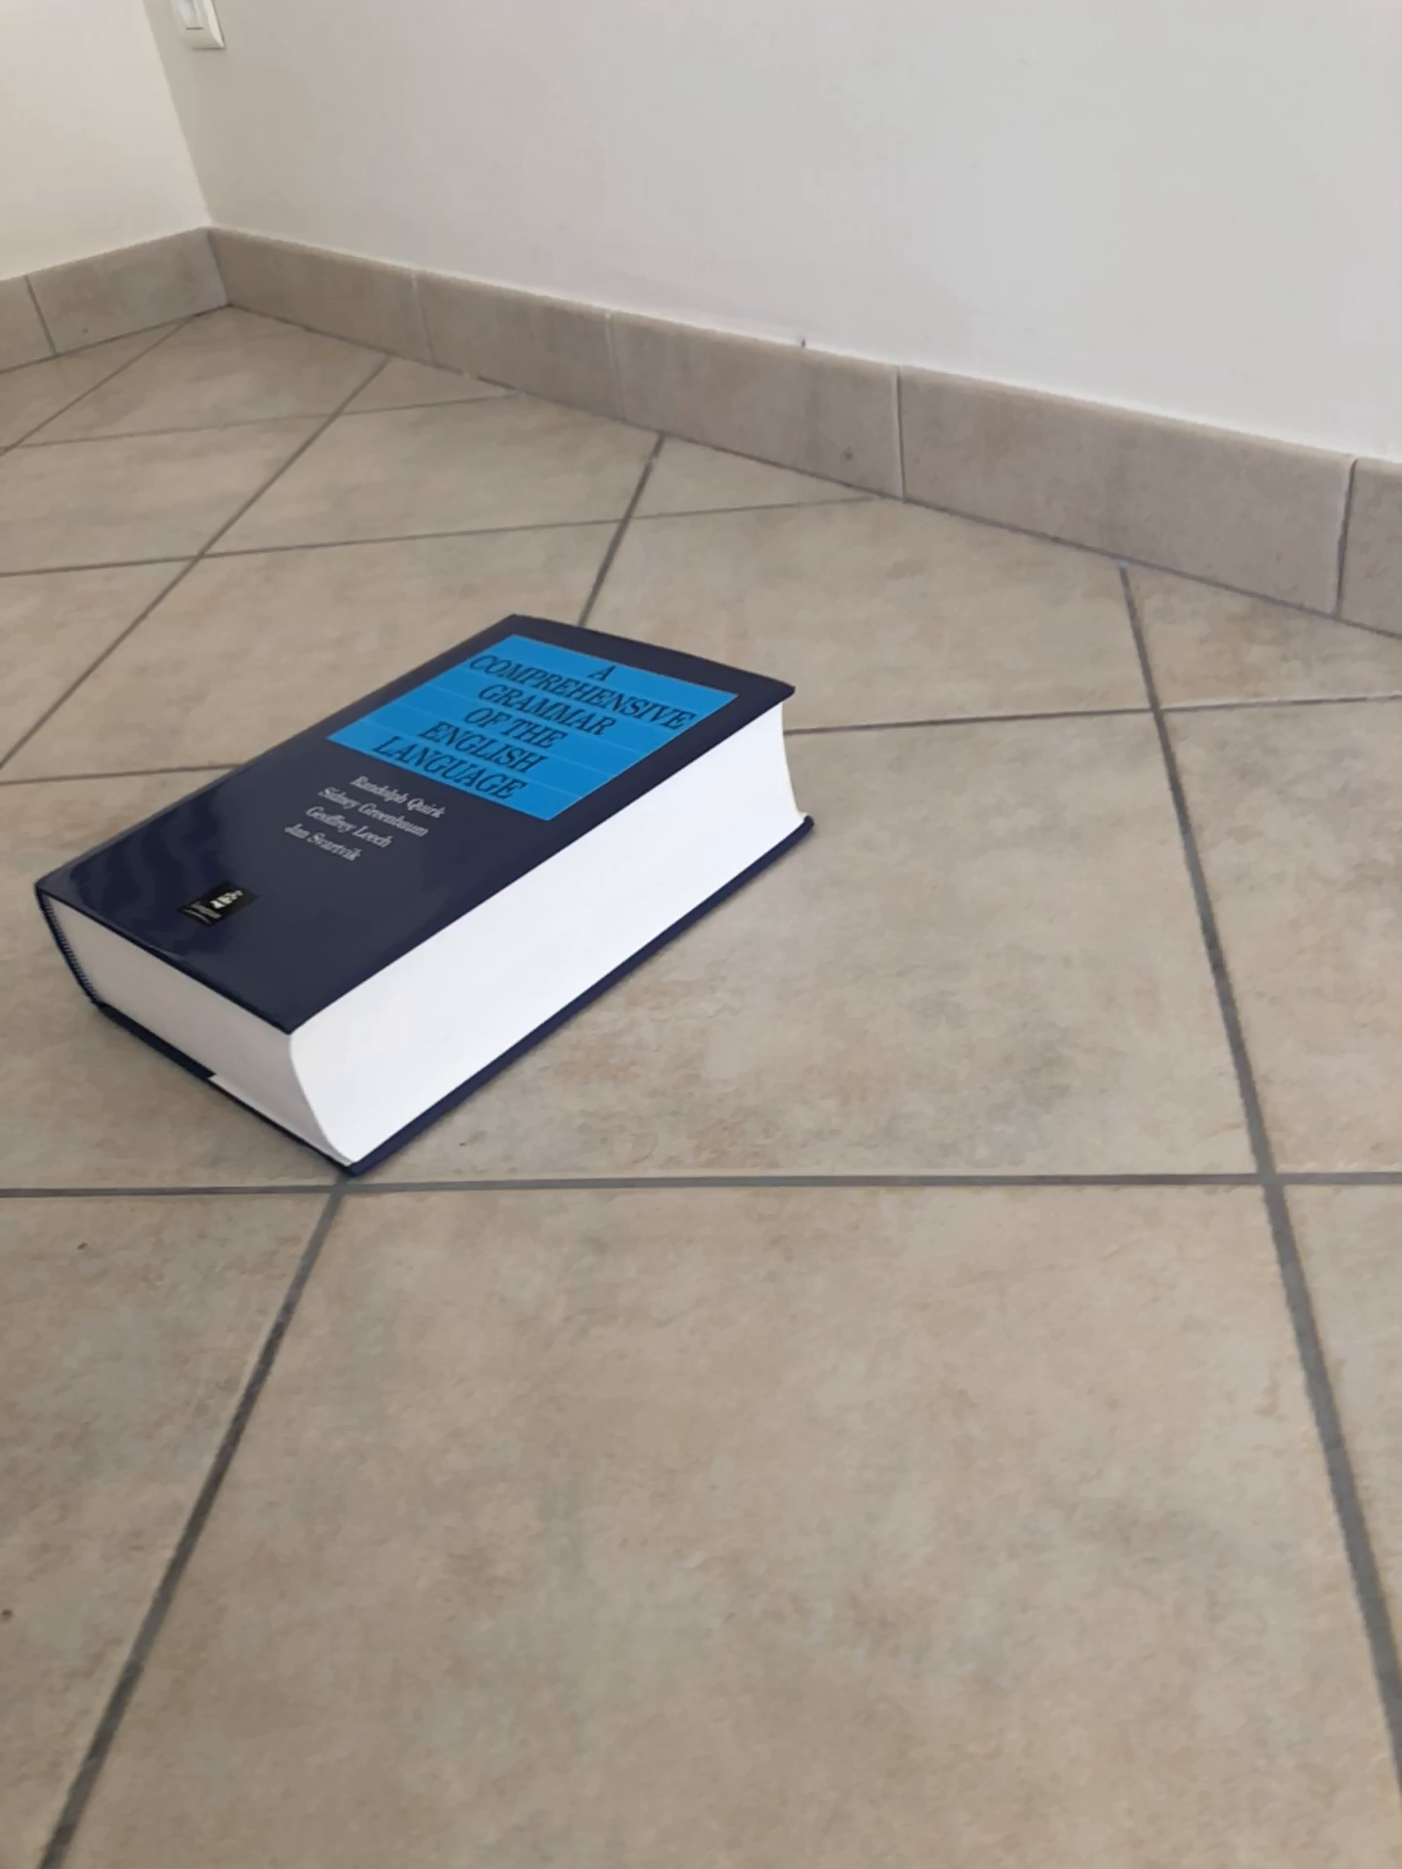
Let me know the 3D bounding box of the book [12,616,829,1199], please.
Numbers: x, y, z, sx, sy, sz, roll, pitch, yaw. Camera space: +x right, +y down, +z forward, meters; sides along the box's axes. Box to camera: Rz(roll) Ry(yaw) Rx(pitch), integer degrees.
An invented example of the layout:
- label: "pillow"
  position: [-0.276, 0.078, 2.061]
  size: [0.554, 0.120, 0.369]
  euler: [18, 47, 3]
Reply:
- label: "book"
  position: [-0.102, -0.031, 0.614]
  size: [0.180, 0.066, 0.258]
  euler: [21, 45, 38]
